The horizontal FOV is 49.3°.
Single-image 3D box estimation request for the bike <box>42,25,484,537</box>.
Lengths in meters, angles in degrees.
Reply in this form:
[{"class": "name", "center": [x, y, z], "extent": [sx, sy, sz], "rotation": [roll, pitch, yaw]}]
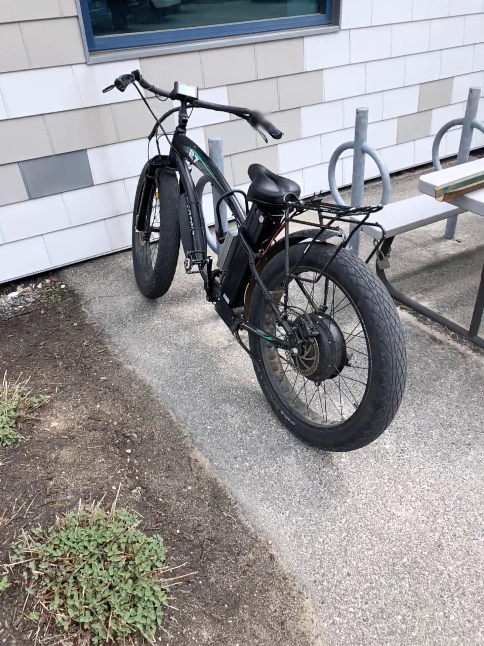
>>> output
[{"class": "bike", "center": [0.032, -0.423, 2.167], "extent": [0.913, 1.132, 1.866], "rotation": [-21, 40, -24]}]
